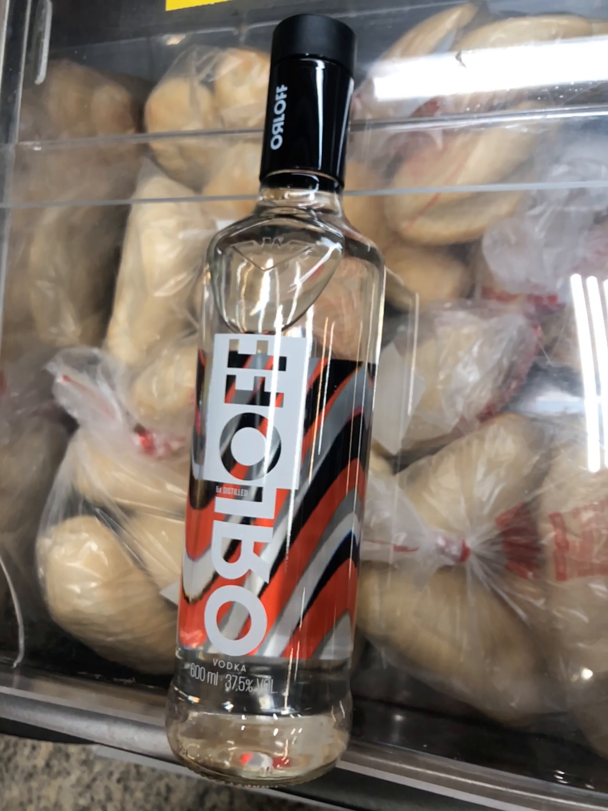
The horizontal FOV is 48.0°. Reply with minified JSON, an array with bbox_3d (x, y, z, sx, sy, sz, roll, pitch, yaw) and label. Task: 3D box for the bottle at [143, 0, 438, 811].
[{"bbox_3d":[0.000,-0.014,0.265,0.070,0.070,0.300,4,88,20],"label":"bottle"}]
